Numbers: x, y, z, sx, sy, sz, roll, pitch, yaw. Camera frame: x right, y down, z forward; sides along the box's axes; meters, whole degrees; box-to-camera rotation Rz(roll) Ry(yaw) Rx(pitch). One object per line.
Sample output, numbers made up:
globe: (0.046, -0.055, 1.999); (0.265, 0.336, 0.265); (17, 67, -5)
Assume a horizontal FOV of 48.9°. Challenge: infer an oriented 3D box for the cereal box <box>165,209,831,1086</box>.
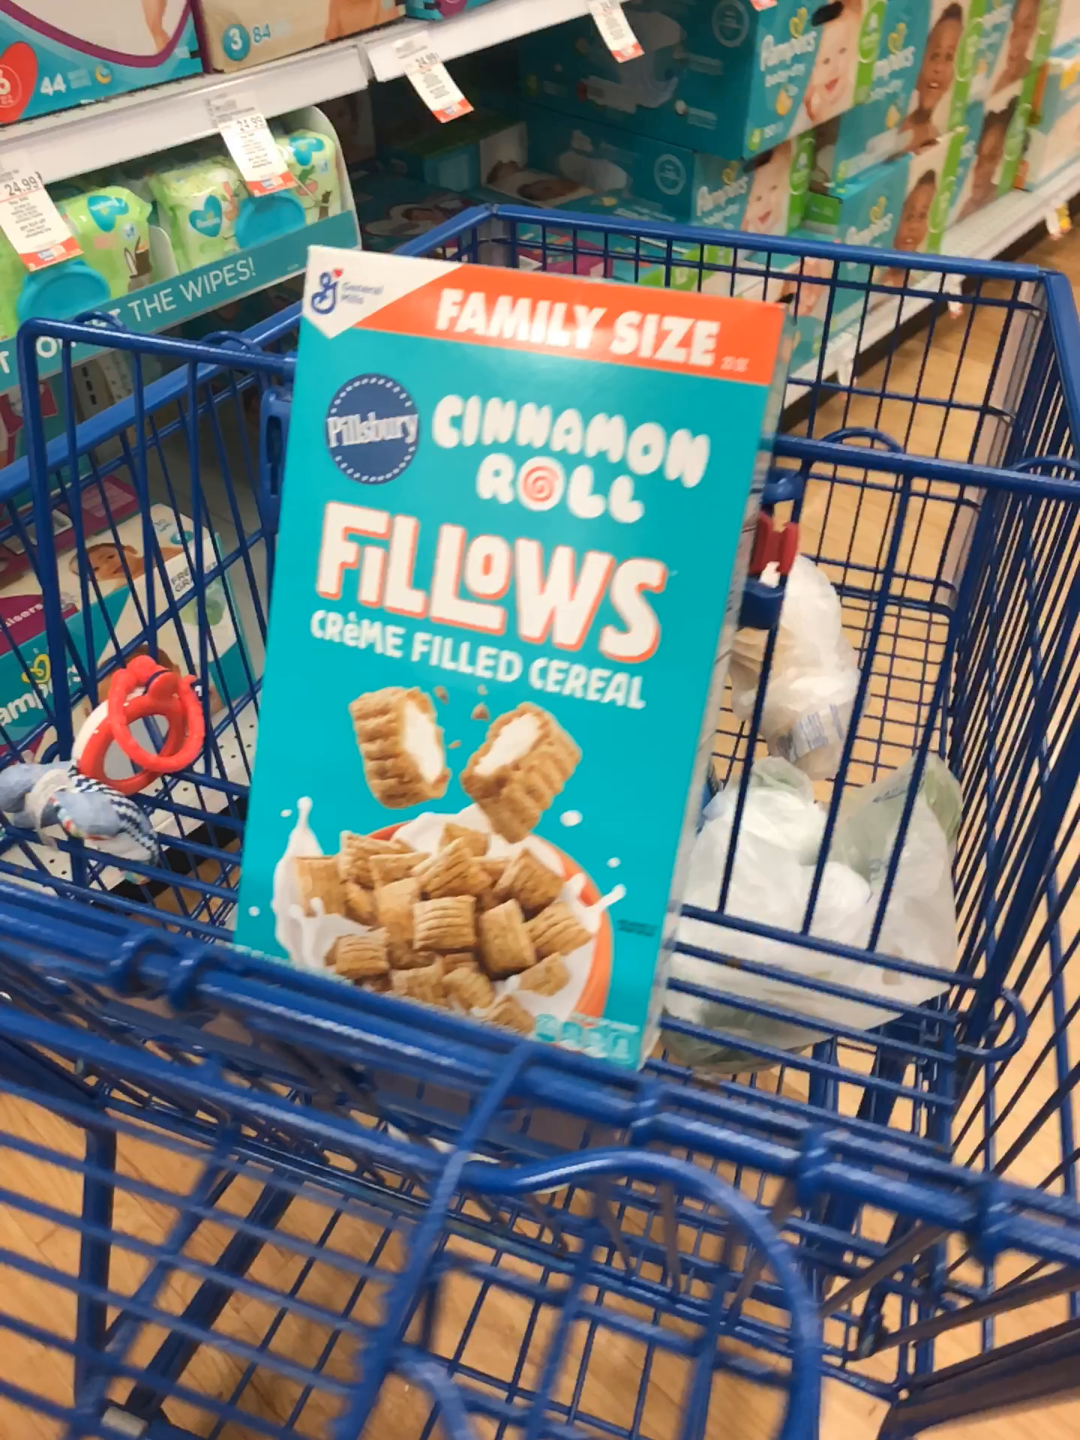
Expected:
cereal box: (-0.023, -0.030, 0.470); (0.210, 0.290, 0.060); (13, 11, 14)
